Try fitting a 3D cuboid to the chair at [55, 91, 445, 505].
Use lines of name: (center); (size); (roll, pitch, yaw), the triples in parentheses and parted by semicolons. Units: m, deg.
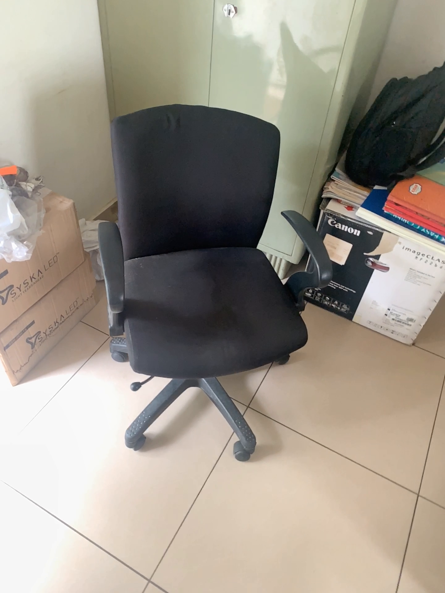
chair: (-0.030, 0.014, 1.358); (0.700, 0.927, 0.702); (-10, 48, -15)
